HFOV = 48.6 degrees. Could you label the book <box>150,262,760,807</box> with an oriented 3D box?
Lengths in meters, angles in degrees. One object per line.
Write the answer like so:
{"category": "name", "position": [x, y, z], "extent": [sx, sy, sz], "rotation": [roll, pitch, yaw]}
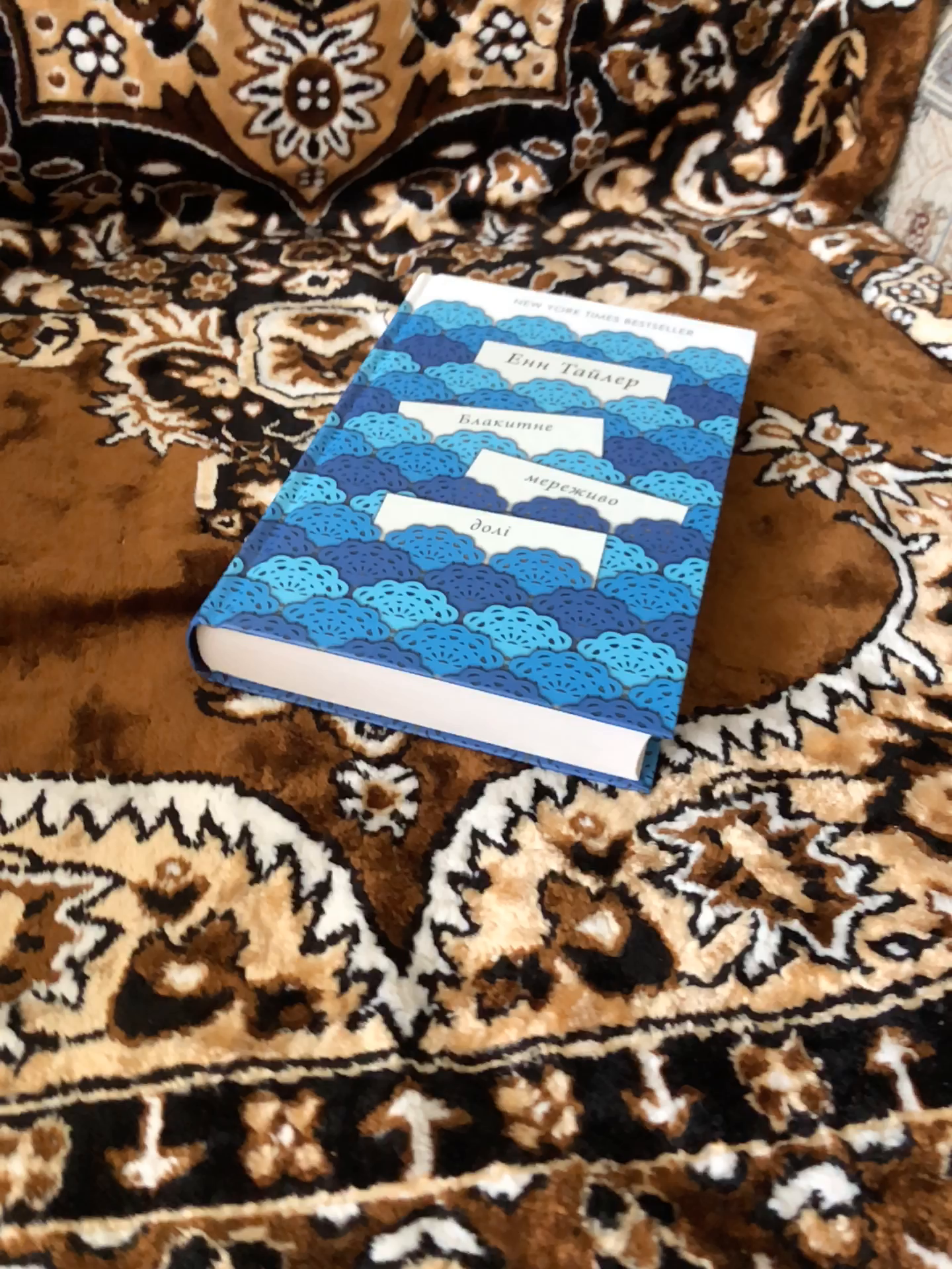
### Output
{"category": "book", "position": [0.012, -0.058, 0.382], "extent": [0.154, 0.030, 0.234], "rotation": [13, 46, 9]}
